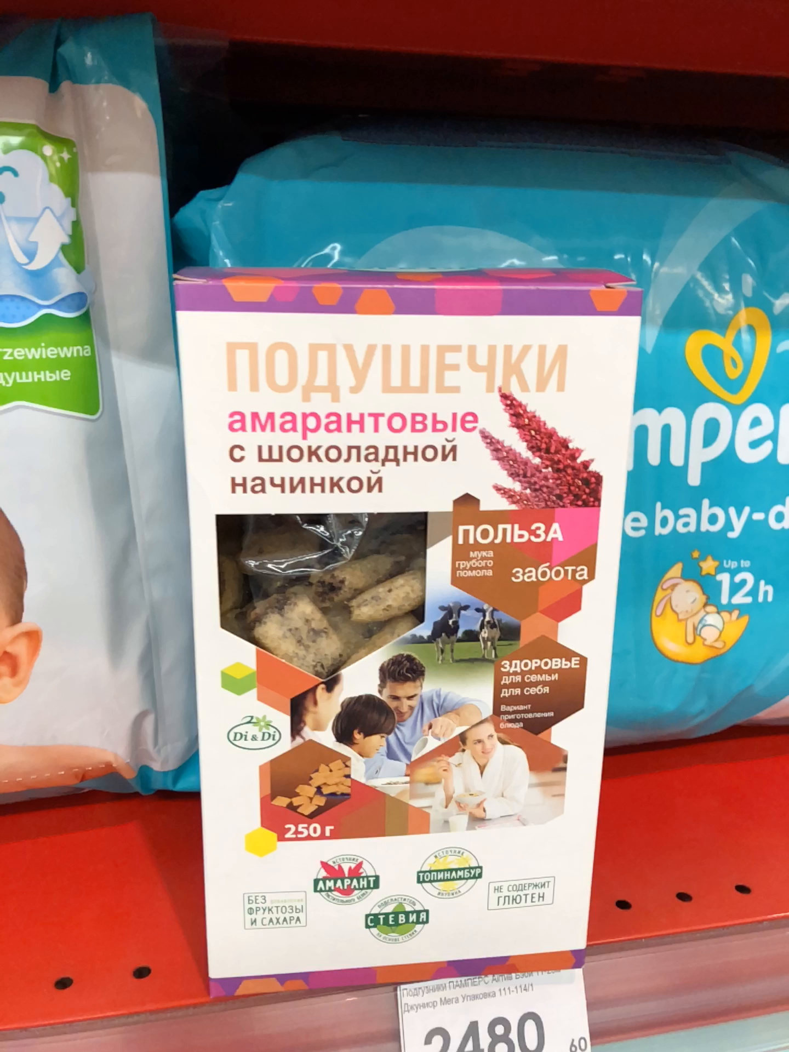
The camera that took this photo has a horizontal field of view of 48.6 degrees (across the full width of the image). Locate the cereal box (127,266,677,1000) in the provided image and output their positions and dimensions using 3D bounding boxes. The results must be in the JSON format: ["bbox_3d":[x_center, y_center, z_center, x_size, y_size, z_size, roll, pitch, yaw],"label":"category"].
[{"bbox_3d":[-0.001,0.031,0.284,0.140,0.219,0.070,-1,16,-6],"label":"cereal box"}]
